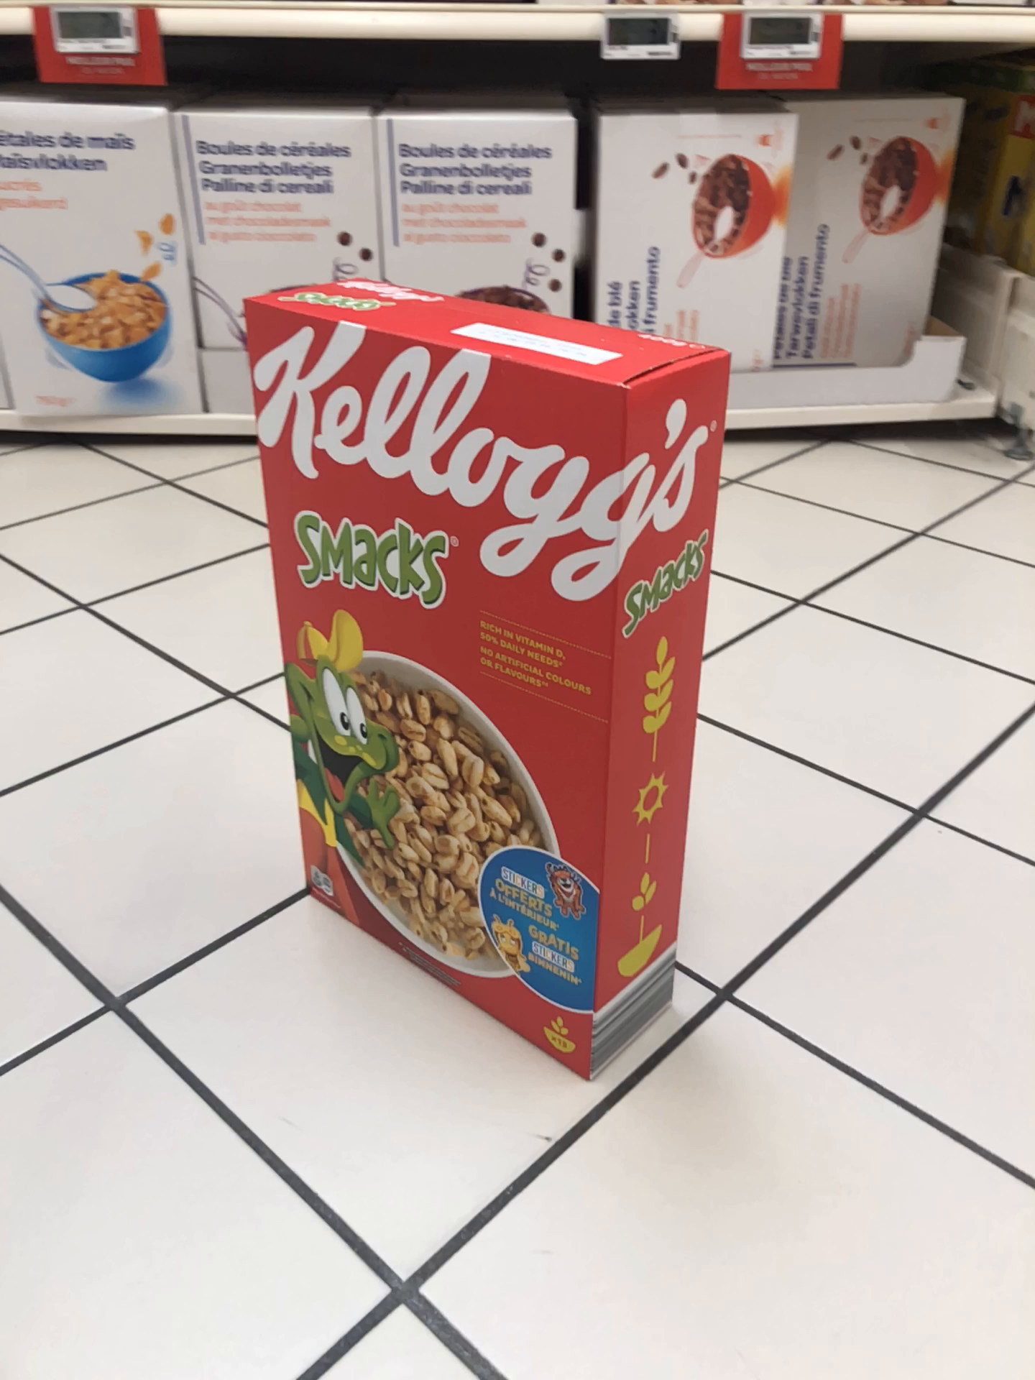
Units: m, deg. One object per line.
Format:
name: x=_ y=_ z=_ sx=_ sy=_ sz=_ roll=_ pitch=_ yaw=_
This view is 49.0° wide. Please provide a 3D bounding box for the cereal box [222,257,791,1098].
cereal box: x=-0.011 y=-0.008 z=0.479 sx=0.200 sy=0.298 sz=0.080 roll=23 pitch=37 yaw=35
